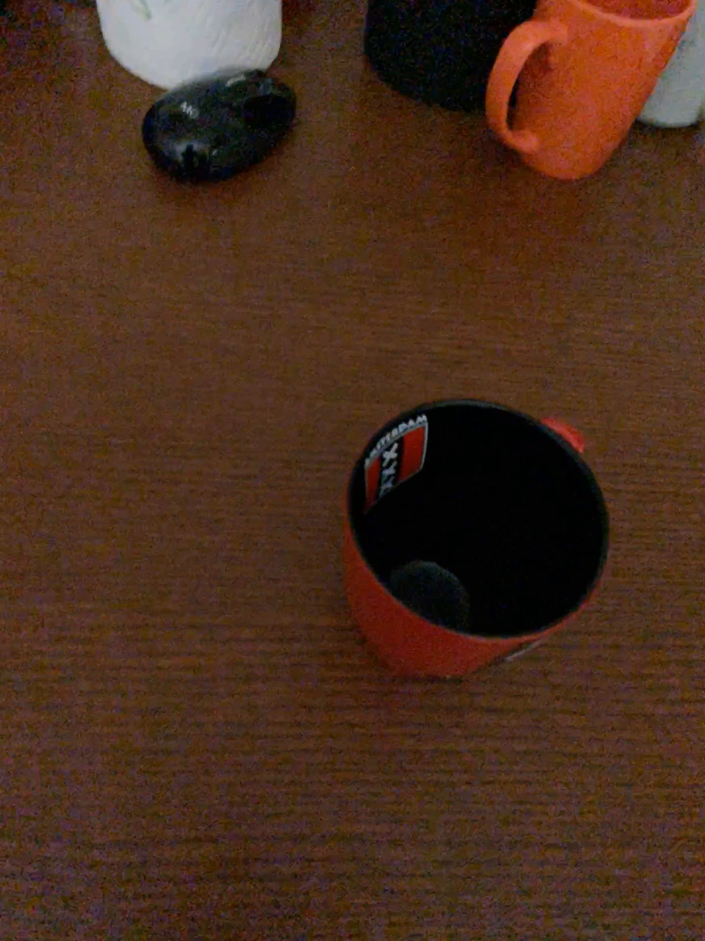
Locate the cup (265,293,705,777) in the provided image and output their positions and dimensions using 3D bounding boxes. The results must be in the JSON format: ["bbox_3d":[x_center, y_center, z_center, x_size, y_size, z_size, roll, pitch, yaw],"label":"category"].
[{"bbox_3d":[0.047,0.025,0.273,0.130,0.100,0.090,-39,71,-24],"label":"cup"}]
